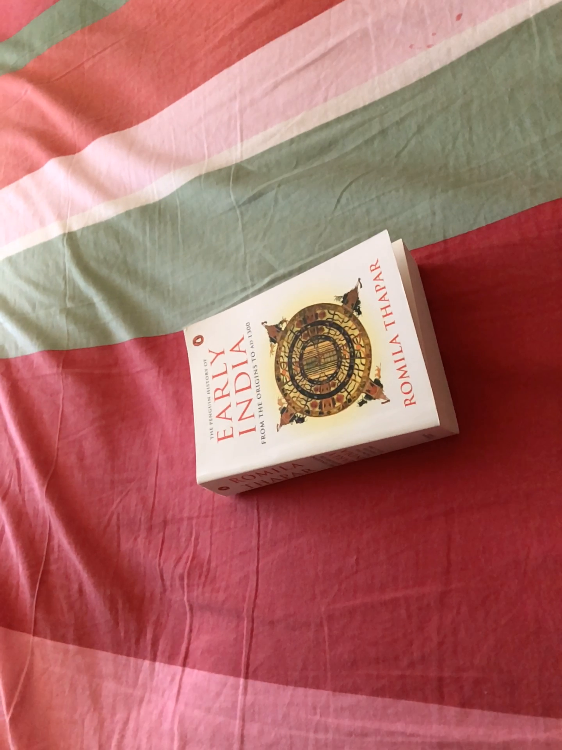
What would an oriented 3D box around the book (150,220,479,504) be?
[{"bbox_3d":[0.012,0.002,0.428,0.201,0.070,0.120,-21,62,25],"label":"book"}]
